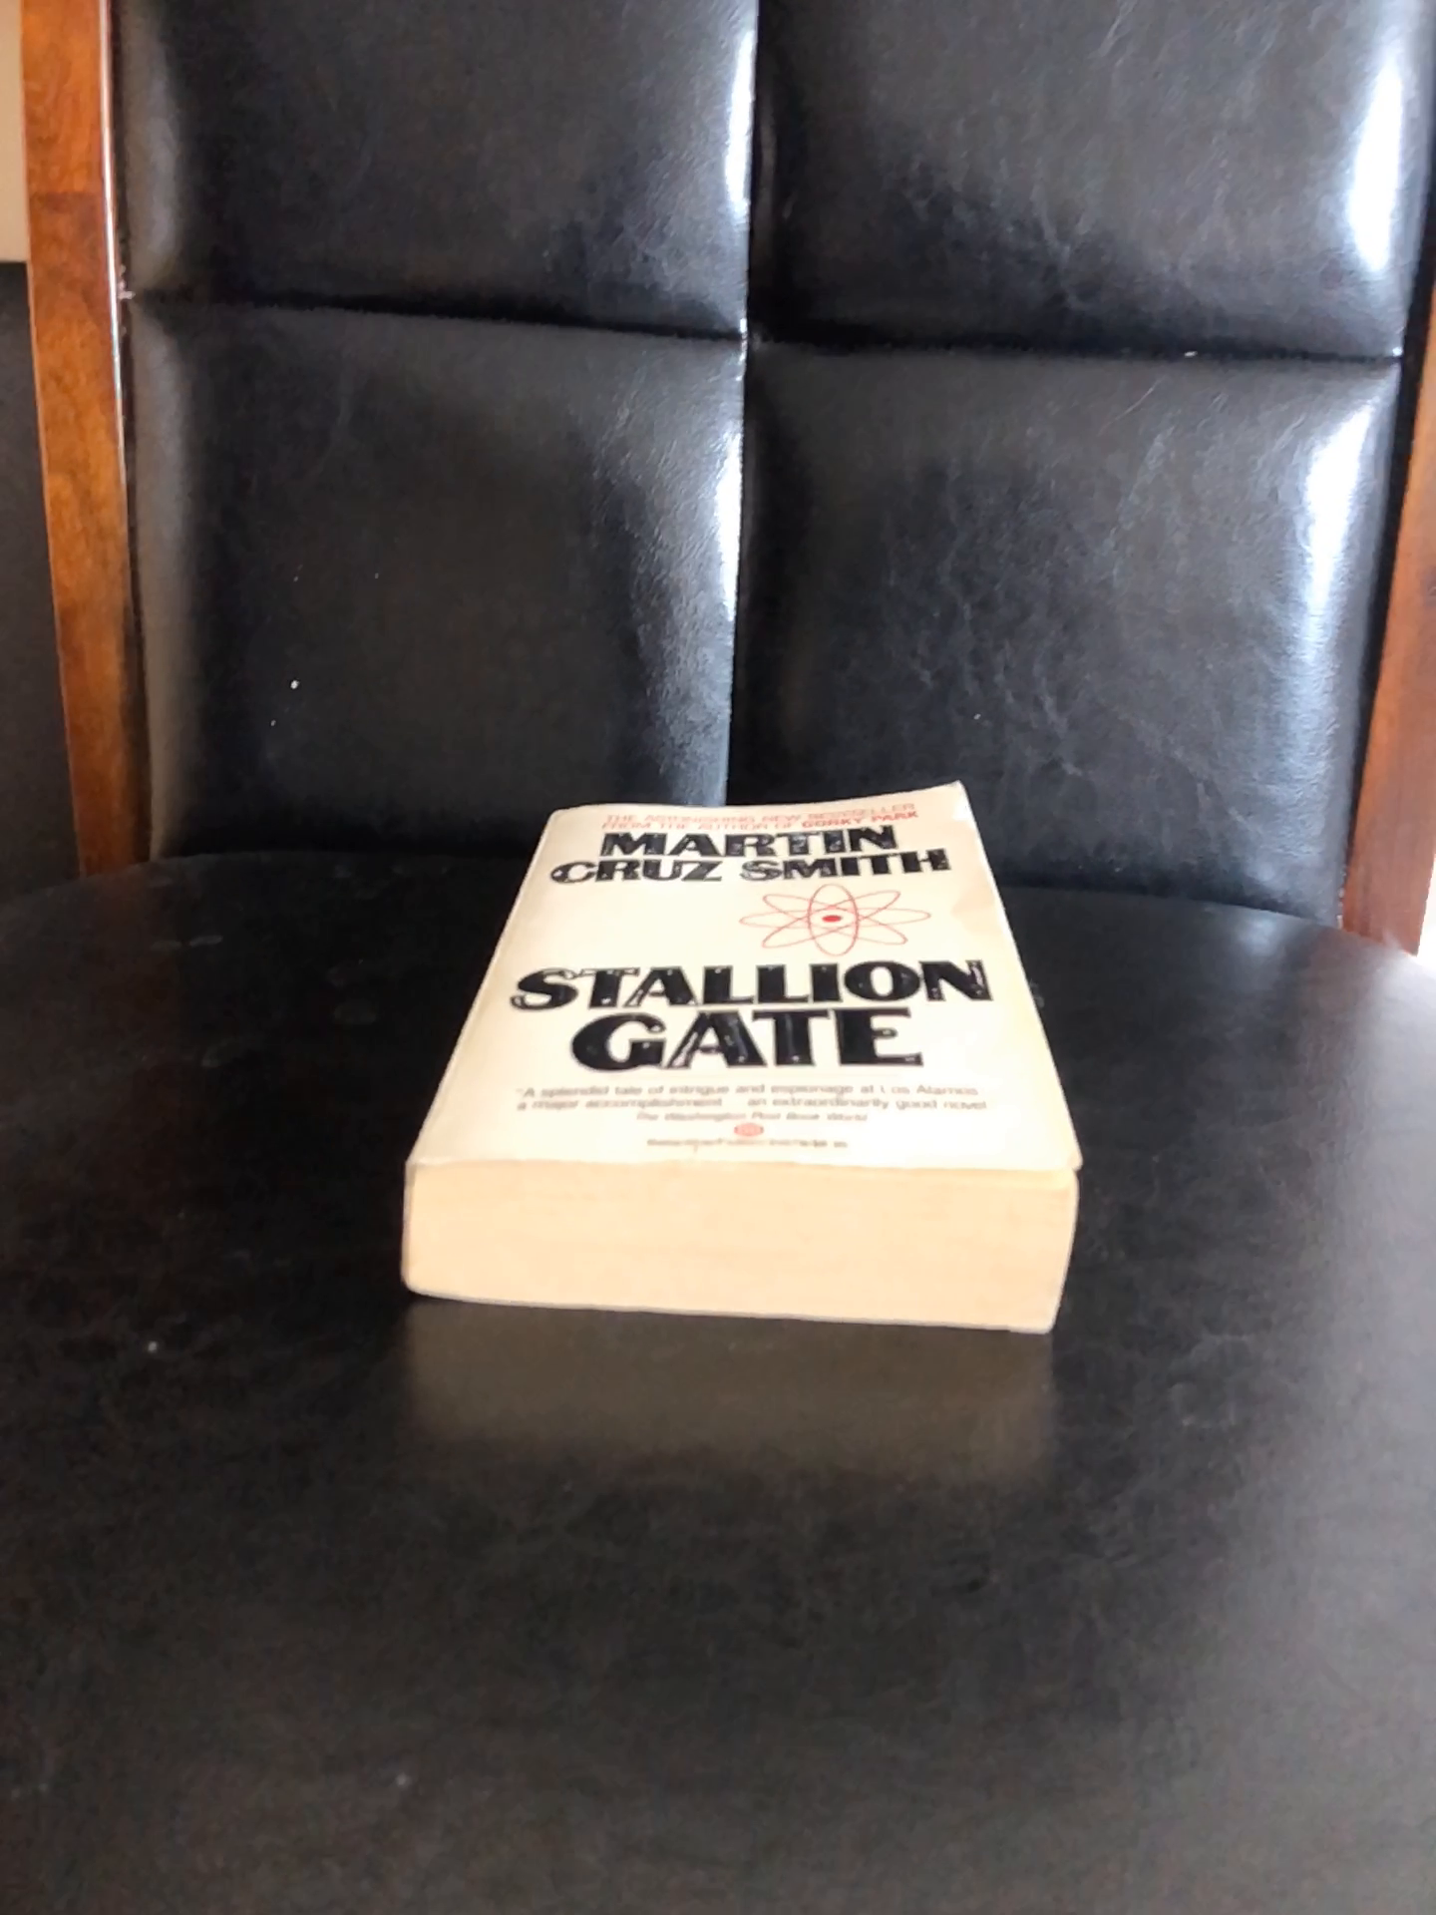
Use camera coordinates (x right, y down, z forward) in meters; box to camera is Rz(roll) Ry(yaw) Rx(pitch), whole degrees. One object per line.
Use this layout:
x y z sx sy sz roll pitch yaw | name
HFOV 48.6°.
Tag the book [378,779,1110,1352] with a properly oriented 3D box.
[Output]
0.008 0.008 0.332 0.110 0.030 0.191 2 24 2 | book
